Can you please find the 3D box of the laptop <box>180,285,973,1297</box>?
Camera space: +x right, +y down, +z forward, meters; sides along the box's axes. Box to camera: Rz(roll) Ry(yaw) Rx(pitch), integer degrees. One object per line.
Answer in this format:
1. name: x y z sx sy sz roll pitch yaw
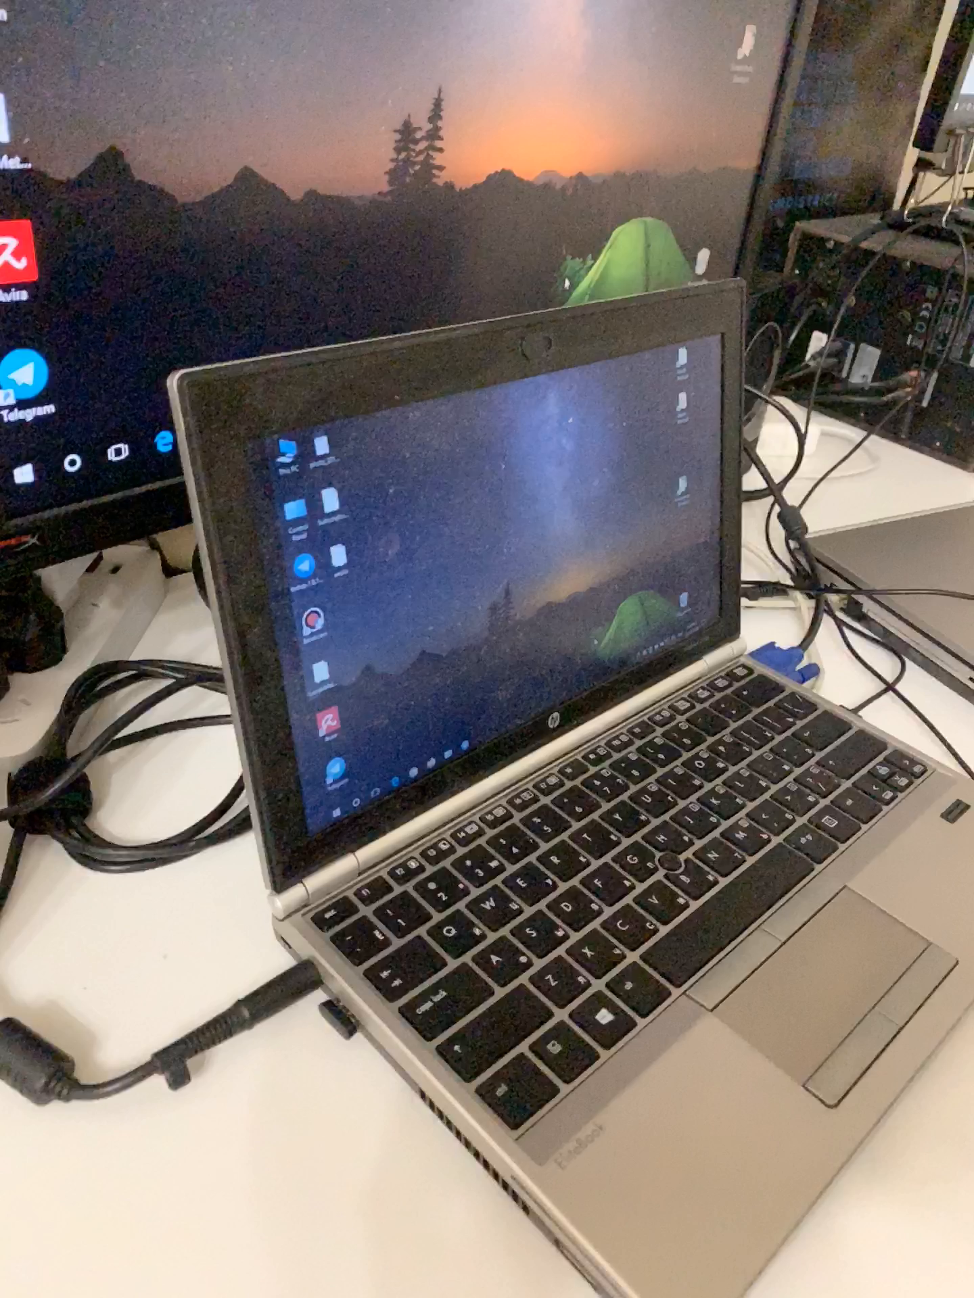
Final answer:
1. laptop: 0.085 0.002 0.353 0.285 0.176 0.226 -24 43 -39
